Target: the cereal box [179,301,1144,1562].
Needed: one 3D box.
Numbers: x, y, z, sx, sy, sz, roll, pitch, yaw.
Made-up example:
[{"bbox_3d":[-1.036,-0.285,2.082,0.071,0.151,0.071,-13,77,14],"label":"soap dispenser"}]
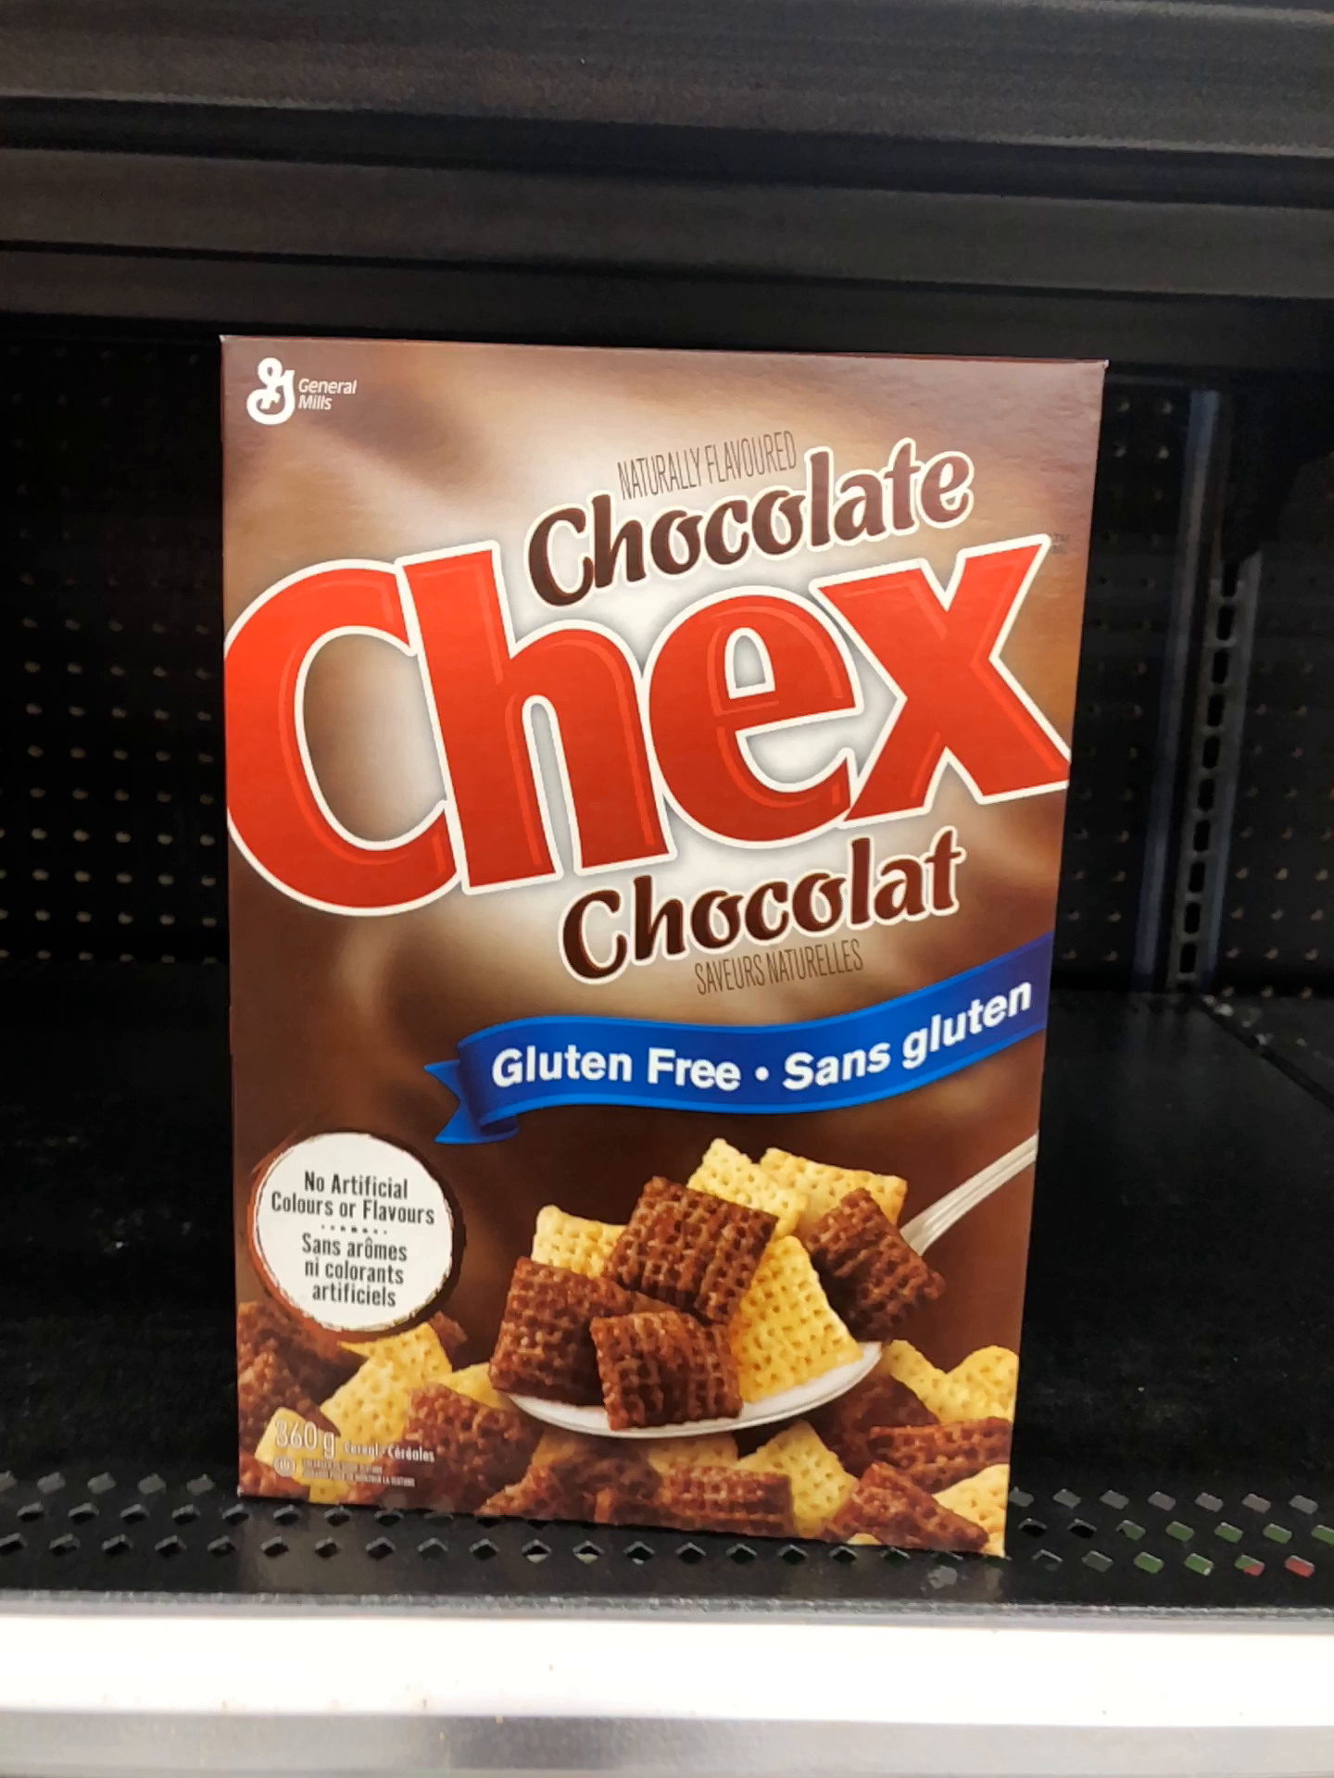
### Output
[{"bbox_3d":[-0.007,0.013,0.356,0.200,0.279,0.050,3,11,4],"label":"cereal box"}]
